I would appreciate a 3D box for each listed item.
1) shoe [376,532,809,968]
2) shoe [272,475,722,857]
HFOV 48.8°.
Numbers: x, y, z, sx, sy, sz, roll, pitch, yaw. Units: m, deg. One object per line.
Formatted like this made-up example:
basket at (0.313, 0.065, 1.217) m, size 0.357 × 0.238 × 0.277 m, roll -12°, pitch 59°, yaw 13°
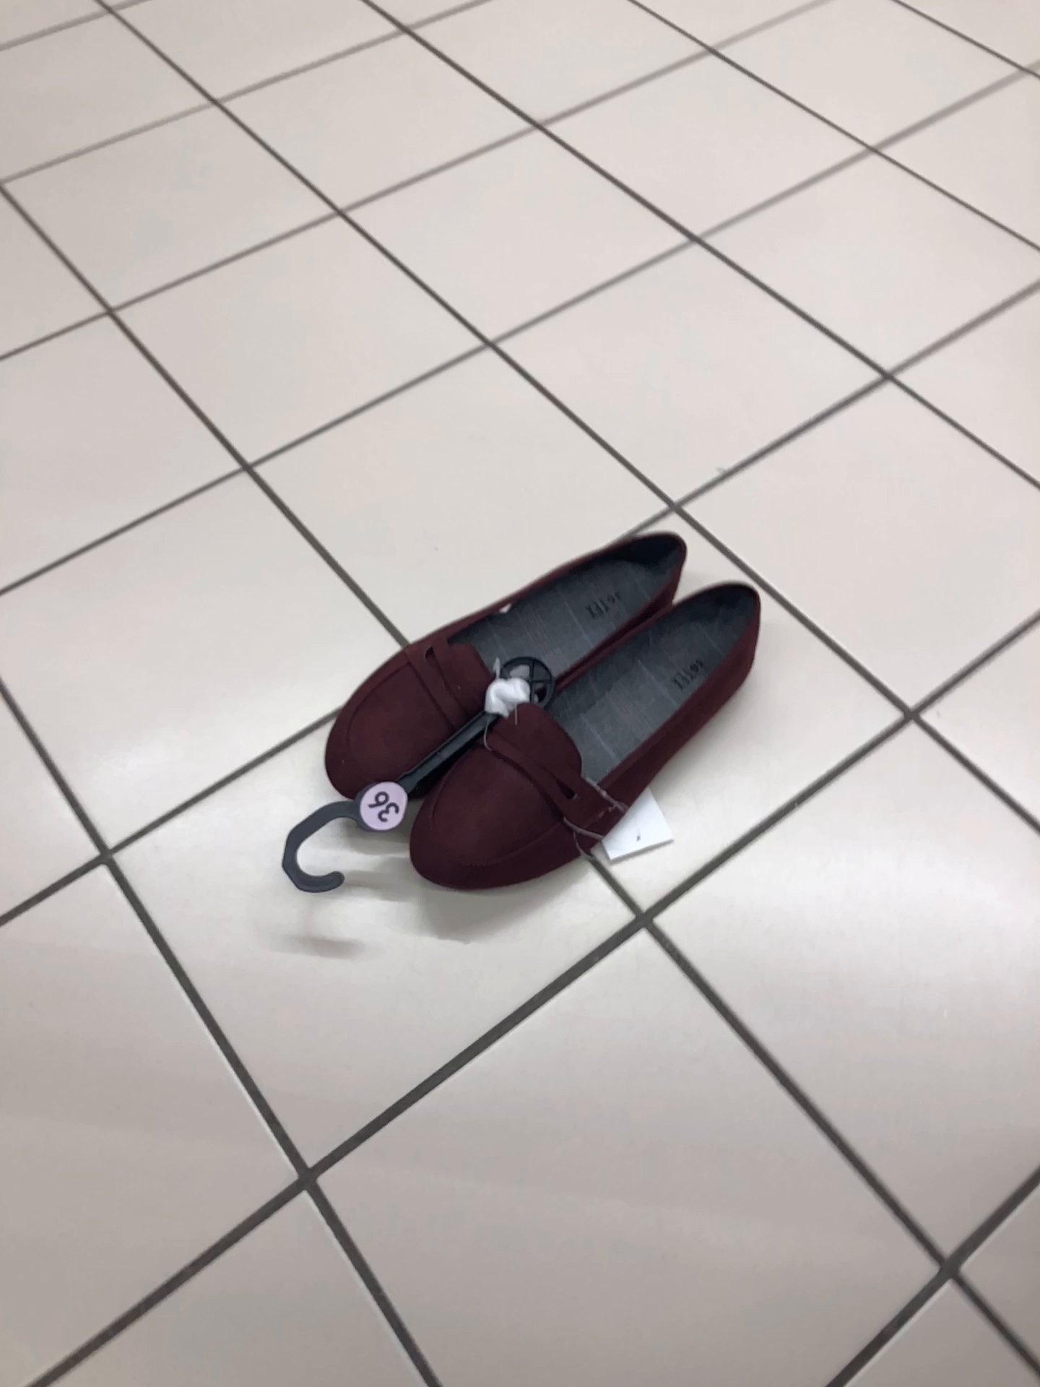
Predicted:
shoe at (0.043, 0.021, 0.594) m, size 0.079 × 0.056 × 0.240 m, roll 37°, pitch 63°, yaw 22°
shoe at (-0.007, -0.021, 0.622) m, size 0.240 × 0.057 × 0.079 m, roll -35°, pitch 63°, yaw -21°
